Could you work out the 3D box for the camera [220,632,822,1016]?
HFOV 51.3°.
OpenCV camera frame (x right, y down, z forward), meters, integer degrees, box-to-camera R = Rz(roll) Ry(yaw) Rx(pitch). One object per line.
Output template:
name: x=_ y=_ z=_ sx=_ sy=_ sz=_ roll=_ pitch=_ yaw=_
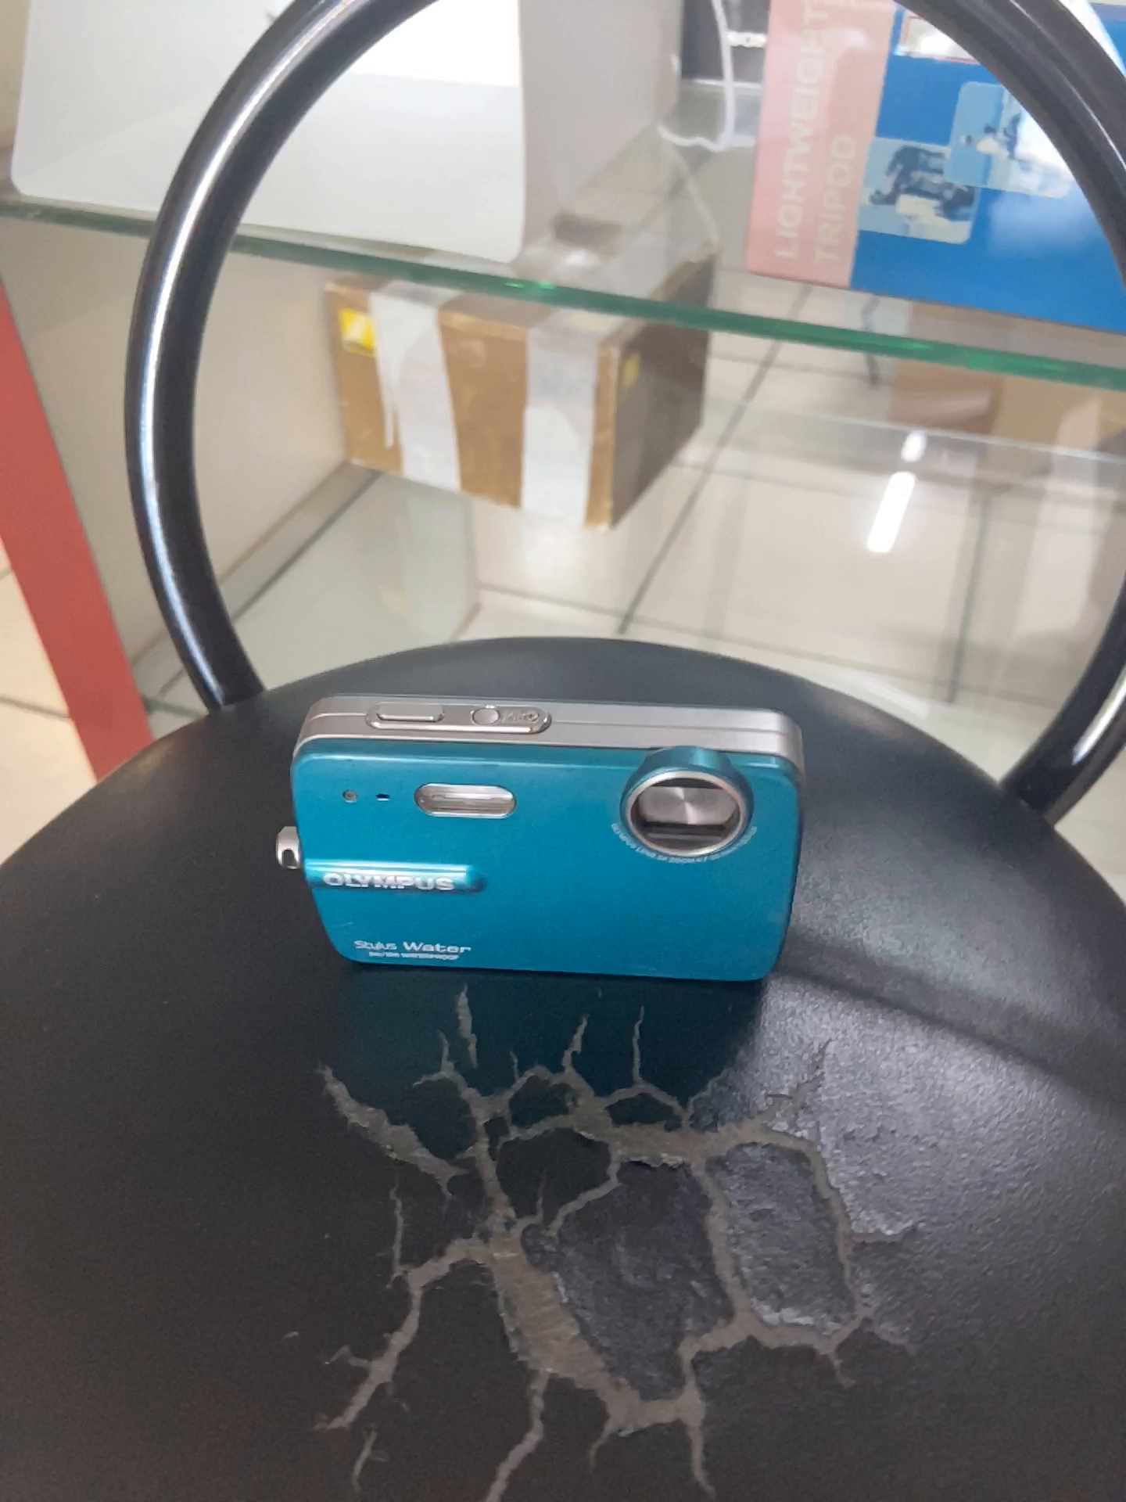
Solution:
camera: x=-0.006 y=0.016 z=0.228 sx=0.100 sy=0.070 sz=0.030 roll=2 pitch=42 yaw=3
